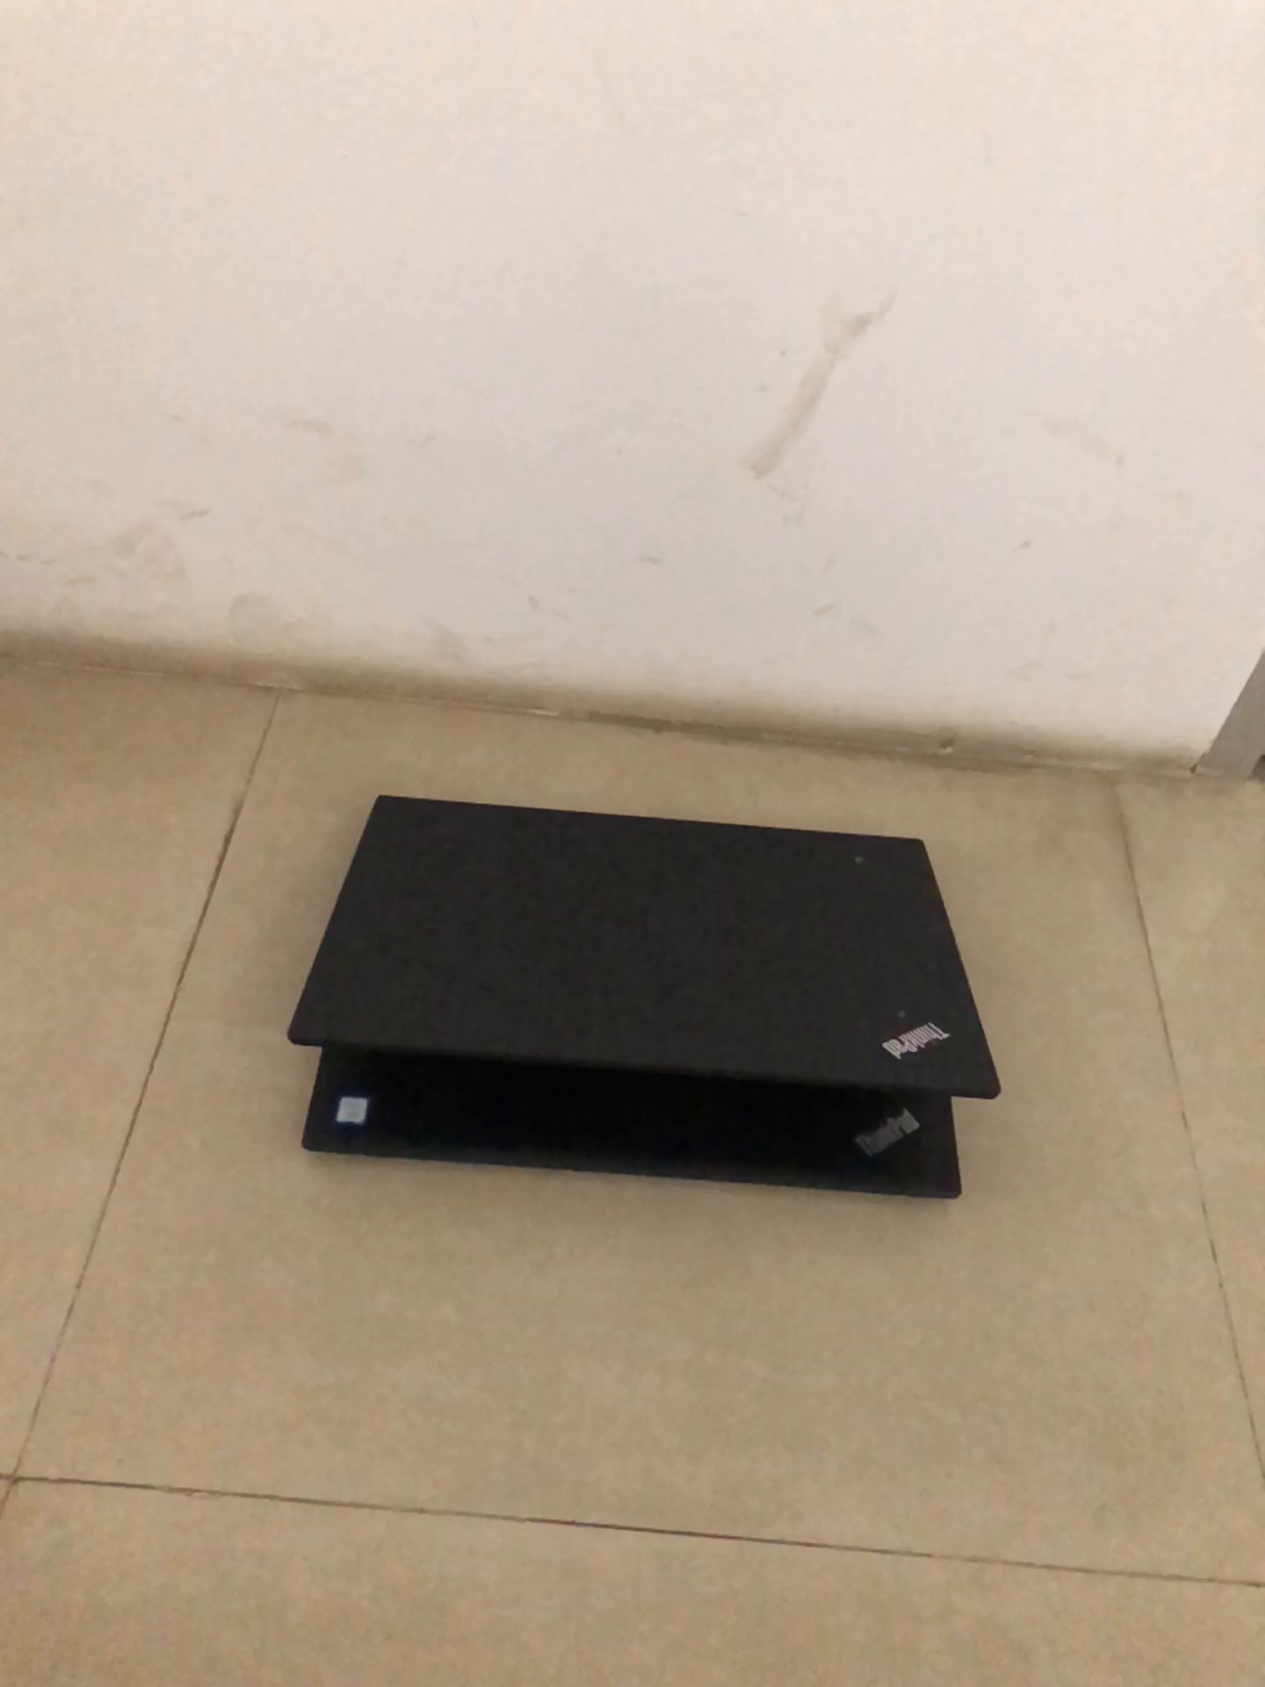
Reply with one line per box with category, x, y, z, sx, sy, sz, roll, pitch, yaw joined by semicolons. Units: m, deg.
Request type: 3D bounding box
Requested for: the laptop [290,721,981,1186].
laptop;0.004;0.056;0.798;0.349;0.071;0.237;4;52;-1
